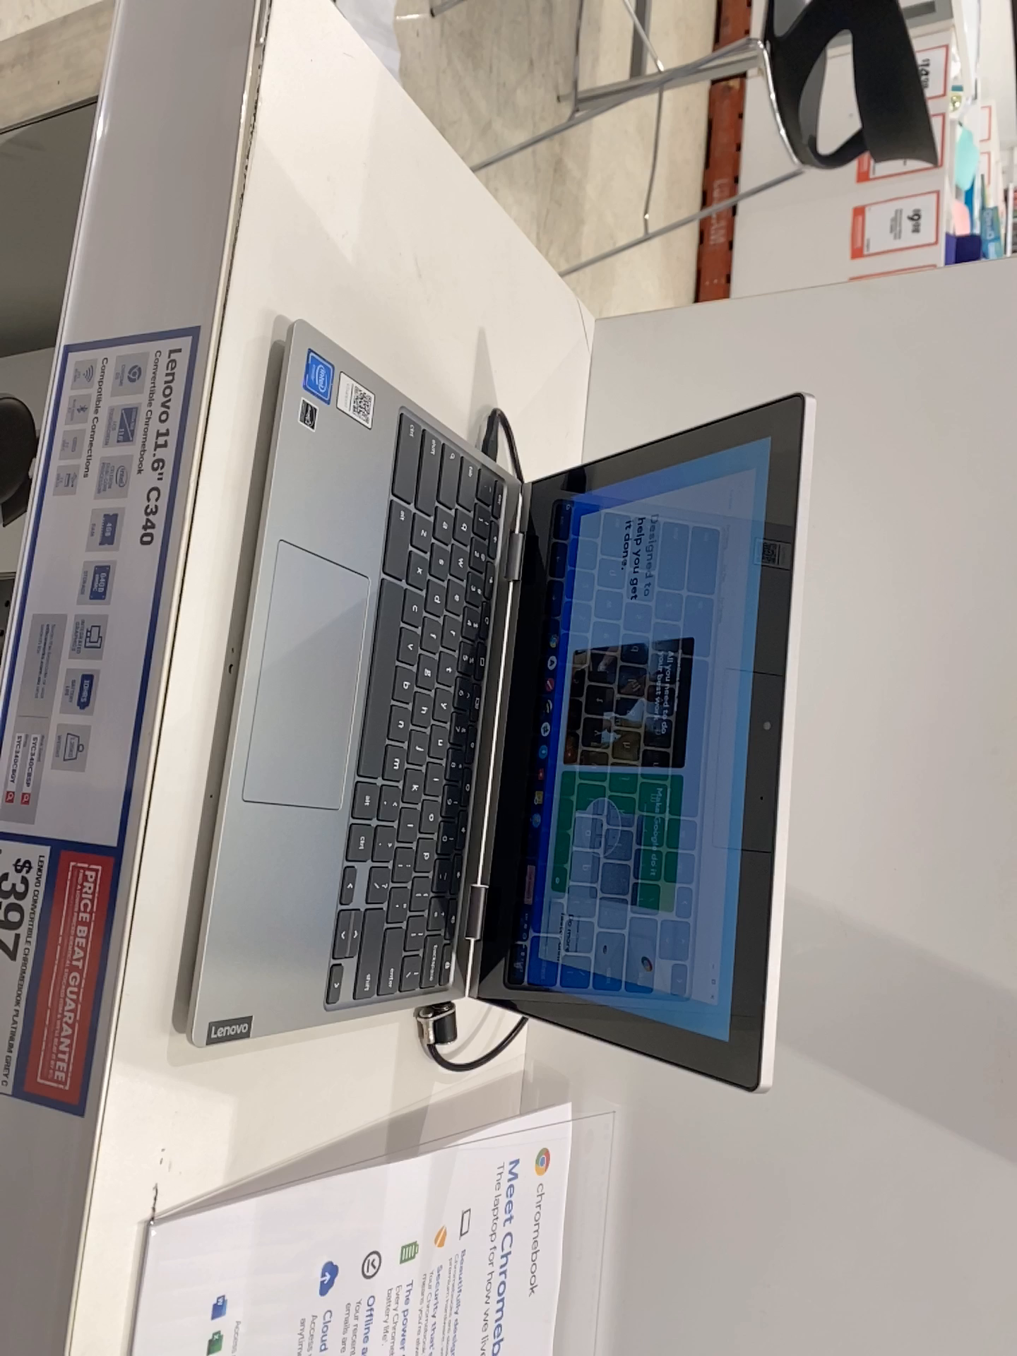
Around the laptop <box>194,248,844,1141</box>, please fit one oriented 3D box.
[{"bbox_3d":[0.025,0.012,0.455,0.202,0.180,0.283,21,72,-60],"label":"laptop"}]
